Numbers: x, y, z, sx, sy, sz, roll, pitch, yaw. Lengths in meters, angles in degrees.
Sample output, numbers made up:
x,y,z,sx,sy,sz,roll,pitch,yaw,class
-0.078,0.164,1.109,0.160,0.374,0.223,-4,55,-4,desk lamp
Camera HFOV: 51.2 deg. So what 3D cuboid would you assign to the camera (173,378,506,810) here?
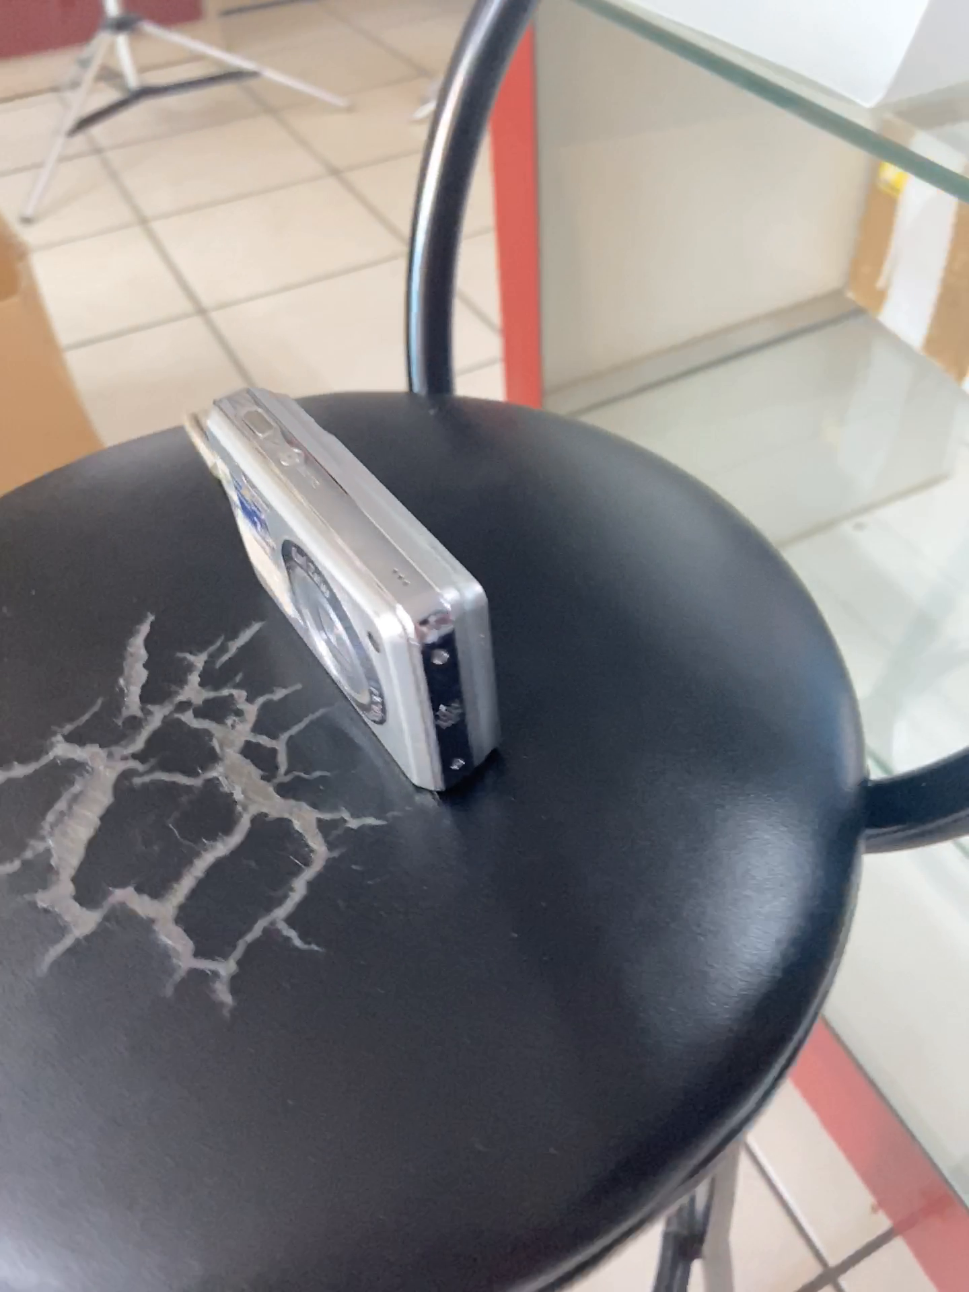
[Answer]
x,y,z,sx,sy,sz,roll,pitch,yaw,class
-0.033,-0.015,0.222,0.026,0.044,0.093,-27,51,-20,camera
